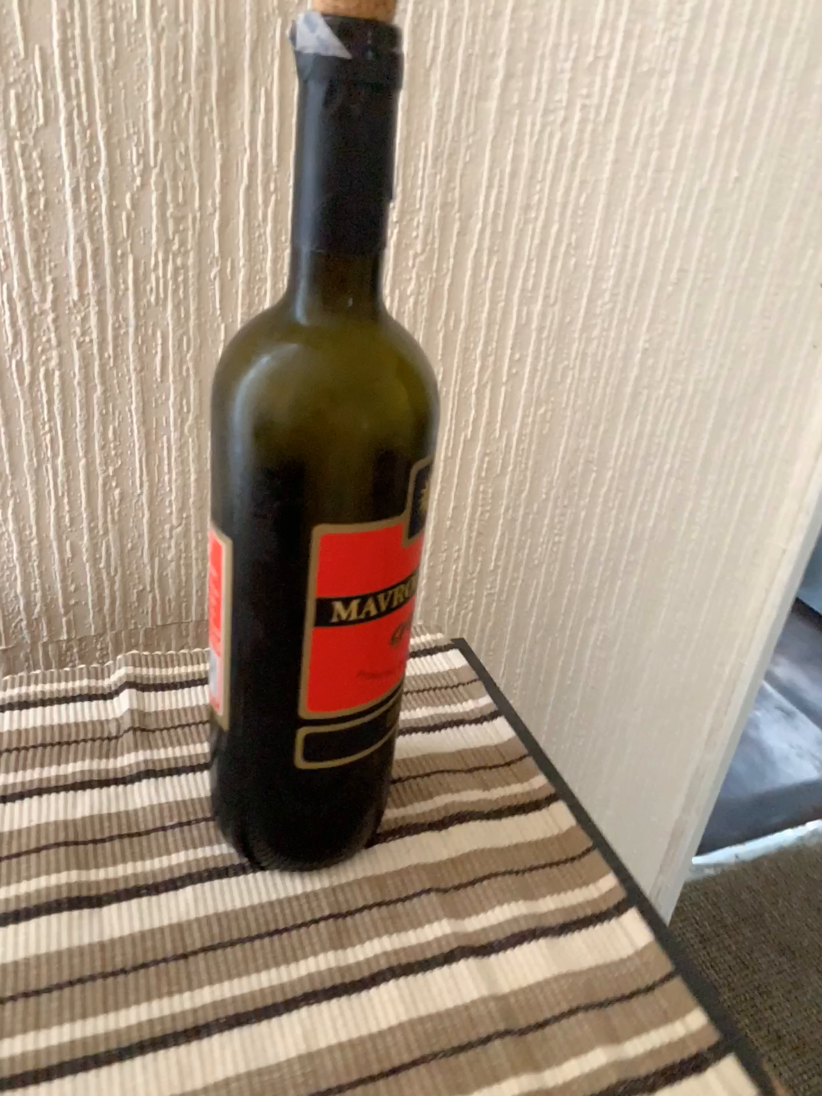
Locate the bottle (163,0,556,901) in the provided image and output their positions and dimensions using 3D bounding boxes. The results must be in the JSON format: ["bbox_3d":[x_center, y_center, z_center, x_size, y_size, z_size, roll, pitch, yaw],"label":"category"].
[{"bbox_3d":[-0.025,-0.031,0.290,0.080,0.317,0.081,6,28,-3],"label":"bottle"}]
